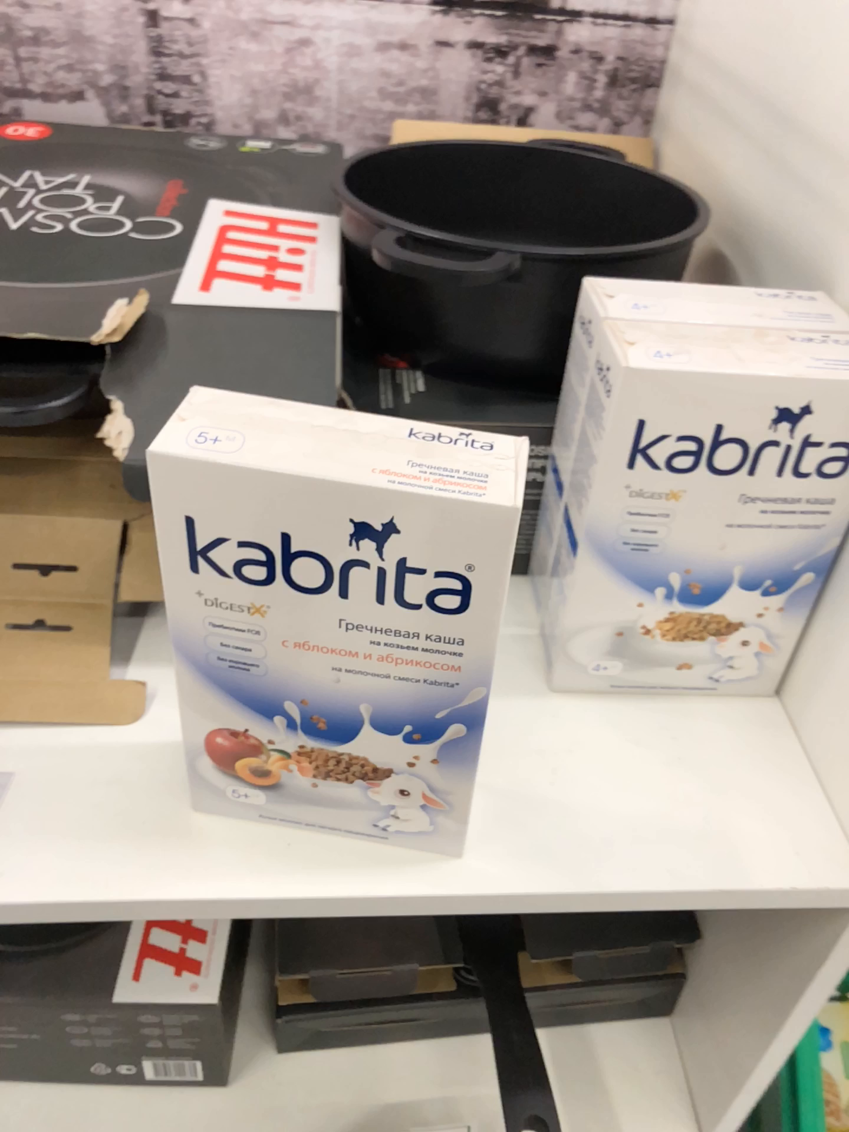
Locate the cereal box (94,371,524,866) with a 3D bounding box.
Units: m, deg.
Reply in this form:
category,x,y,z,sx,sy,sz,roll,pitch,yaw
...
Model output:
category,x,y,z,sx,sy,sz,roll,pitch,yaw
cereal box,-0.045,0.031,0.387,0.140,0.199,0.050,9,38,4
